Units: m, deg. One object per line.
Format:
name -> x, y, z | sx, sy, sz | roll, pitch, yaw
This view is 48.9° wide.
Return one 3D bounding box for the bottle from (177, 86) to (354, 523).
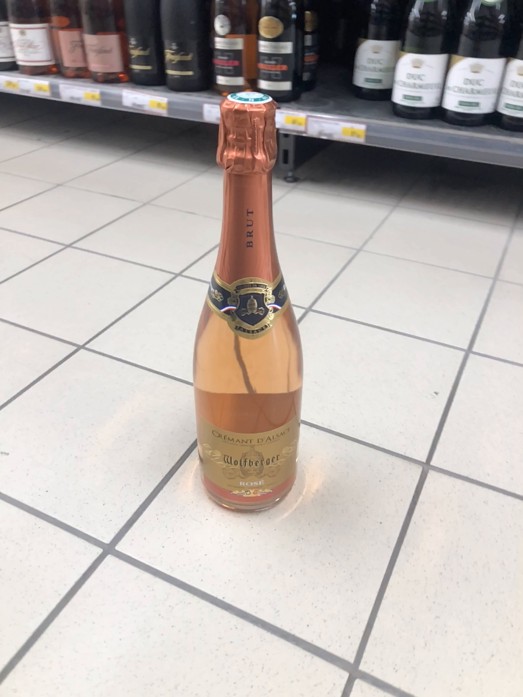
bottle -> -0.004, -0.016, 0.420 | 0.090, 0.308, 0.090 | 1, 34, 0
